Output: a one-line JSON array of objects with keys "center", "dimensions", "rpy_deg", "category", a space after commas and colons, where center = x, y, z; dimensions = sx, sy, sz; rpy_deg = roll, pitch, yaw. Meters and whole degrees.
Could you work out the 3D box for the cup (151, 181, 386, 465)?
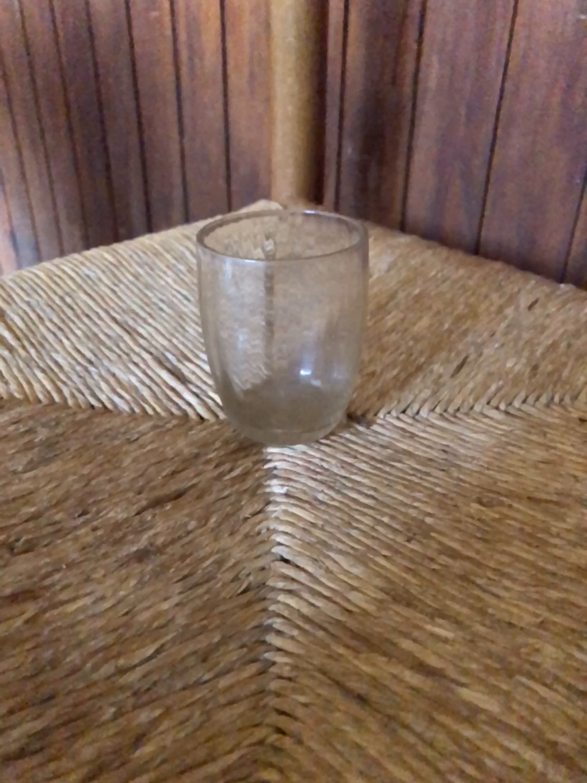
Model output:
[{"center": [-0.013, -0.030, 0.253], "dimensions": [0.070, 0.080, 0.070], "rpy_deg": [0, 32, 0], "category": "cup"}]
